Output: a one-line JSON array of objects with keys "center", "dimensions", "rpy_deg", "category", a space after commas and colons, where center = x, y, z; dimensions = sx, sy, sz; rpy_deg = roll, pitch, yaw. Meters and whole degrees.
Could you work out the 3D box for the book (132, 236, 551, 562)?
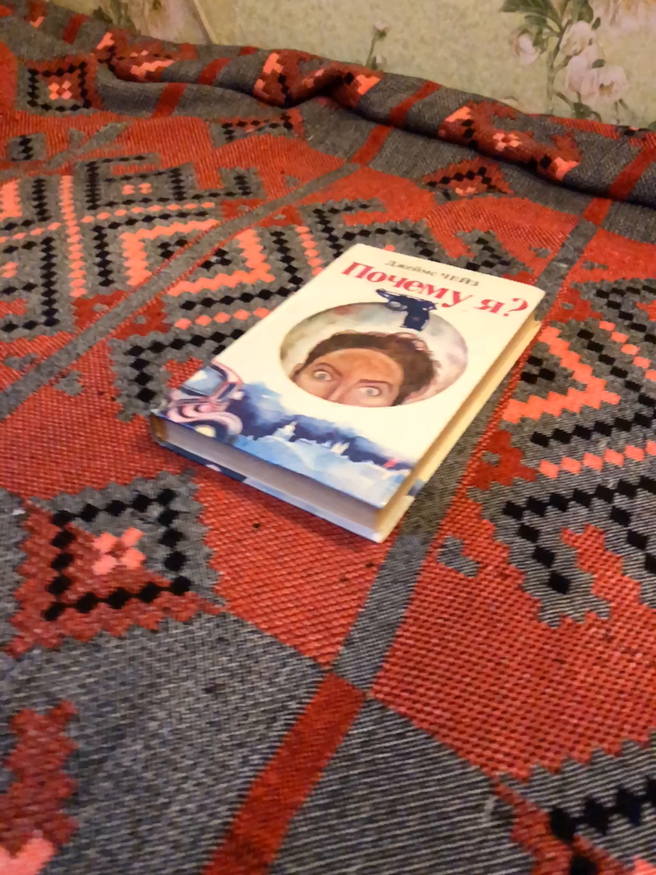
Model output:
[{"center": [0.018, -0.039, 0.388], "dimensions": [0.133, 0.029, 0.205], "rpy_deg": [21, 46, 24], "category": "book"}]
